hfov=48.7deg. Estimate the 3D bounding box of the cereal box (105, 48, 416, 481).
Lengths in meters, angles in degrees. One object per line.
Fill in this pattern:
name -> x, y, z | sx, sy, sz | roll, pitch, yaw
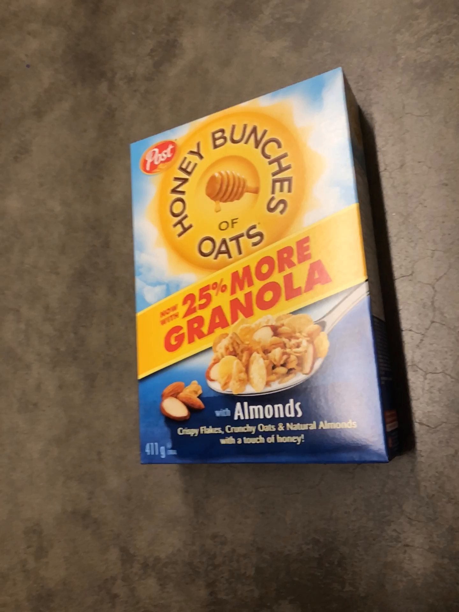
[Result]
cereal box -> 0.010, -0.016, 0.378 | 0.200, 0.060, 0.270 | -10, 79, 27
